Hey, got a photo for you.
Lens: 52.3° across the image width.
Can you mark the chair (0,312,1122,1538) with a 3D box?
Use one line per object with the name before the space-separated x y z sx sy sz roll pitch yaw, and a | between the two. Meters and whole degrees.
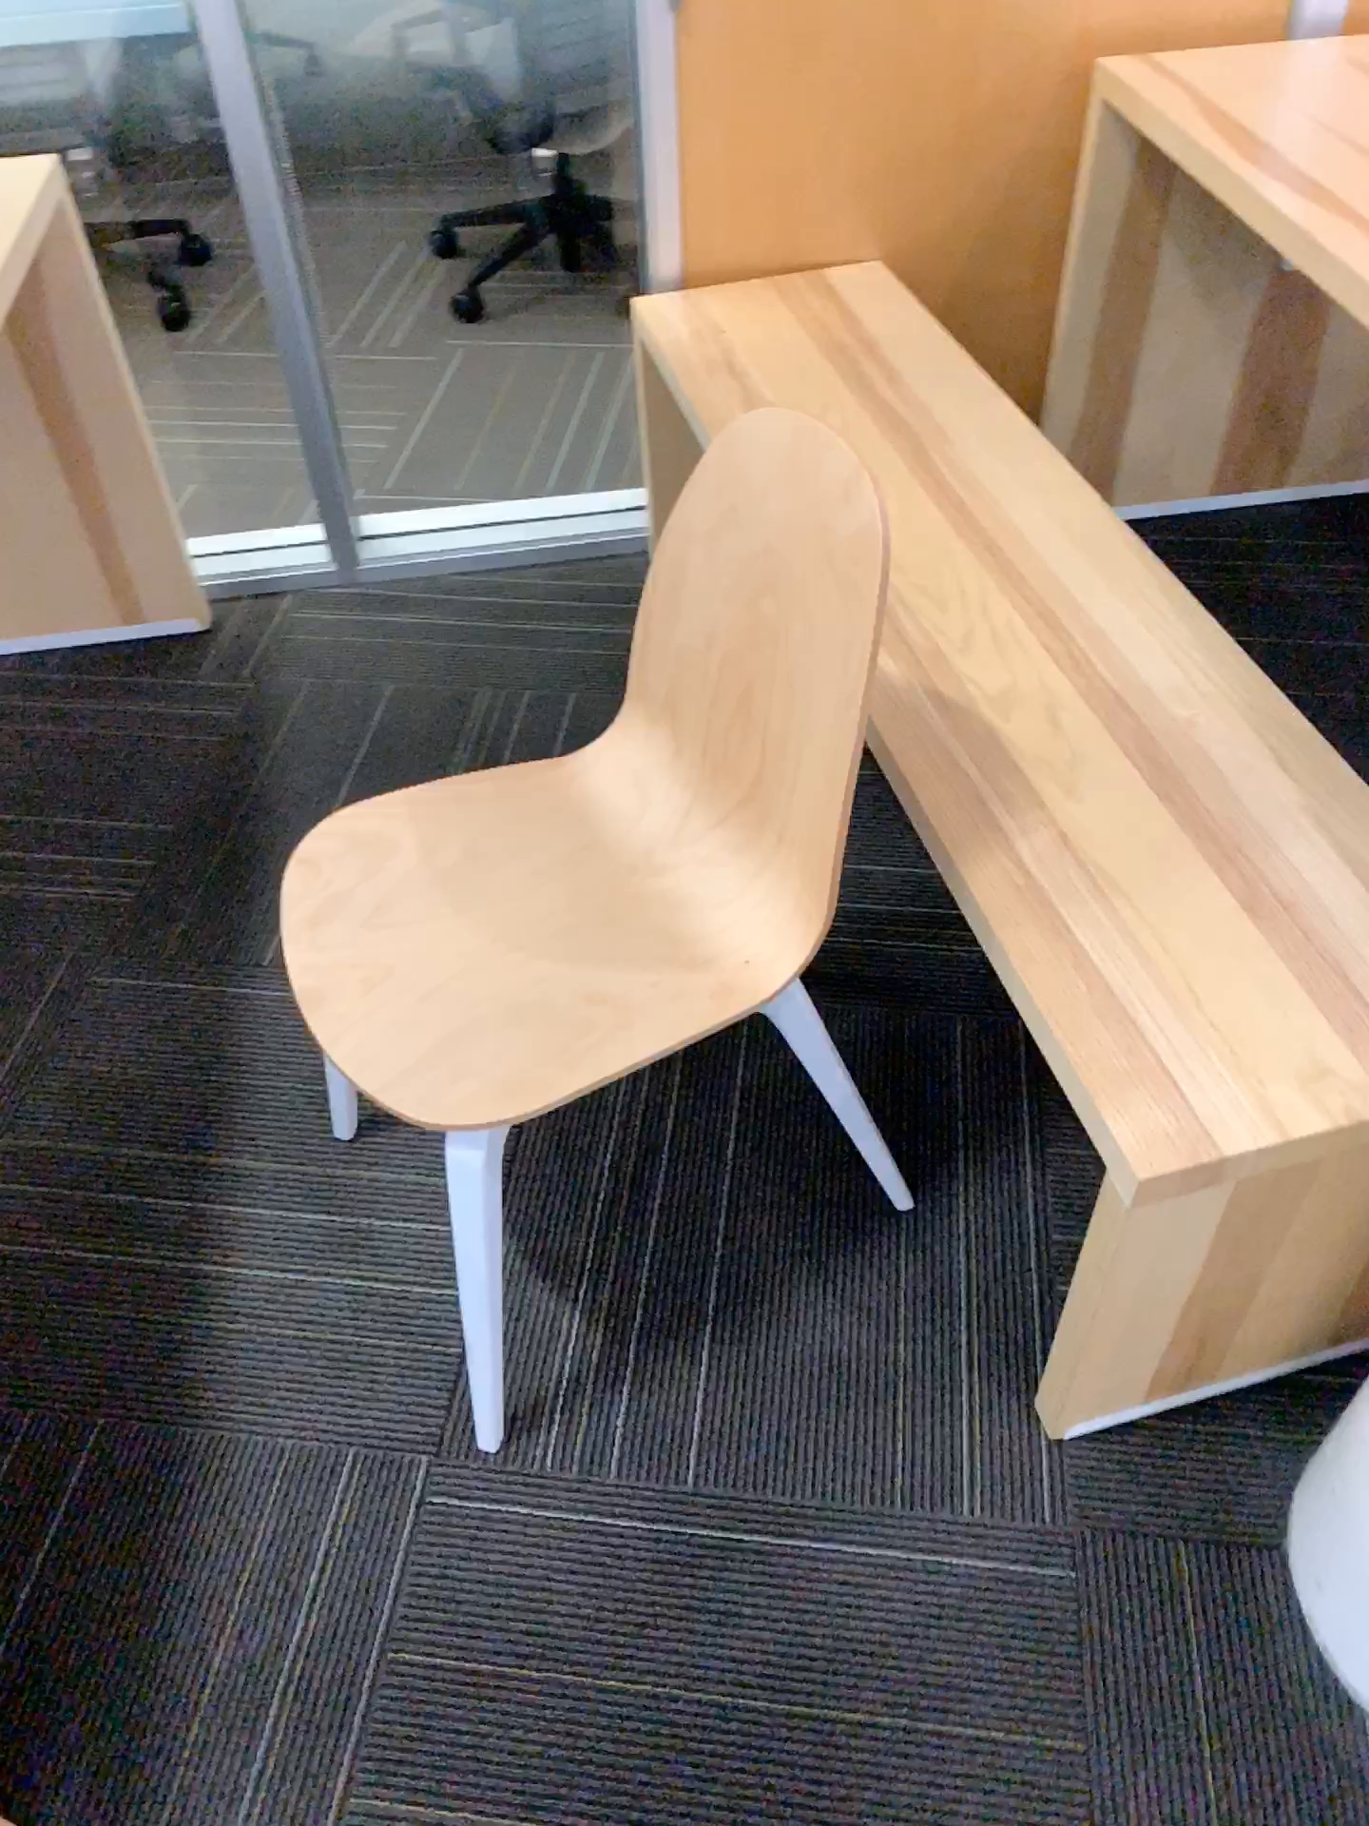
chair | -0.101 0.011 1.262 0.650 0.766 0.523 -26 50 -21
